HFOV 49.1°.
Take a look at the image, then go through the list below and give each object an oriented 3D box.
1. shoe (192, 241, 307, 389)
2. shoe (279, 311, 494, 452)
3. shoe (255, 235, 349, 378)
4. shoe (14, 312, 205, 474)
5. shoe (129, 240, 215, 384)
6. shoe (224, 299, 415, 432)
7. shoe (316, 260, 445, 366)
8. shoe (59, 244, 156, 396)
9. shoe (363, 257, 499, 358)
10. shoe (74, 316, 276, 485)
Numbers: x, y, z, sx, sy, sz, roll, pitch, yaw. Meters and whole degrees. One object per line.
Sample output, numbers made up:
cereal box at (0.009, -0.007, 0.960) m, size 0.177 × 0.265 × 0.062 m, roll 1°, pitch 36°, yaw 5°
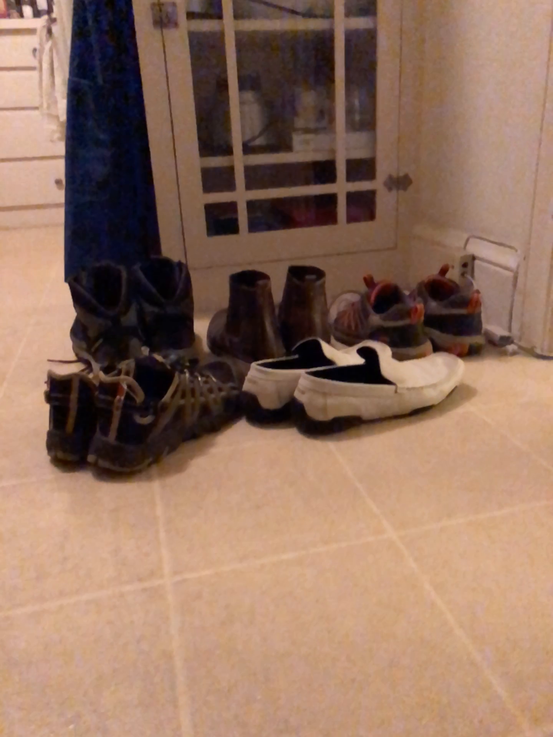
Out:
shoe at (-0.060, -0.118, 1.148) m, size 0.110 × 0.192 × 0.324 m, roll -10°, pitch 22°, yaw -19°
shoe at (0.165, 0.009, 0.892) m, size 0.304 × 0.113 × 0.110 m, roll -14°, pitch 24°, yaw -27°
shoe at (0.041, -0.135, 1.176) m, size 0.110 × 0.192 × 0.325 m, roll -6°, pitch 21°, yaw -8°
shoe at (-0.227, 0.020, 0.894) m, size 0.110 × 0.123 × 0.294 m, roll 5°, pitch 23°, yaw 20°
shoe at (-0.210, -0.125, 1.177) m, size 0.110 × 0.192 × 0.324 m, roll -8°, pitch 22°, yaw -14°
shoe at (0.077, -0.017, 0.964) m, size 0.304 × 0.113 × 0.110 m, roll -19°, pitch 26°, yaw -35°
shoe at (0.184, -0.118, 1.153) m, size 0.110 × 0.113 × 0.314 m, roll -9°, pitch 22°, yaw -15°
shoe at (-0.322, -0.107, 1.126) m, size 0.110 × 0.192 × 0.324 m, roll -10°, pitch 22°, yaw -20°
shoe at (0.287, -0.131, 1.189) m, size 0.110 × 0.113 × 0.314 m, roll -9°, pitch 22°, yaw -15°
shoe at (-0.127, 0.029, 0.867) m, size 0.110 × 0.123 × 0.294 m, roll 10°, pitch 25°, yaw 30°
